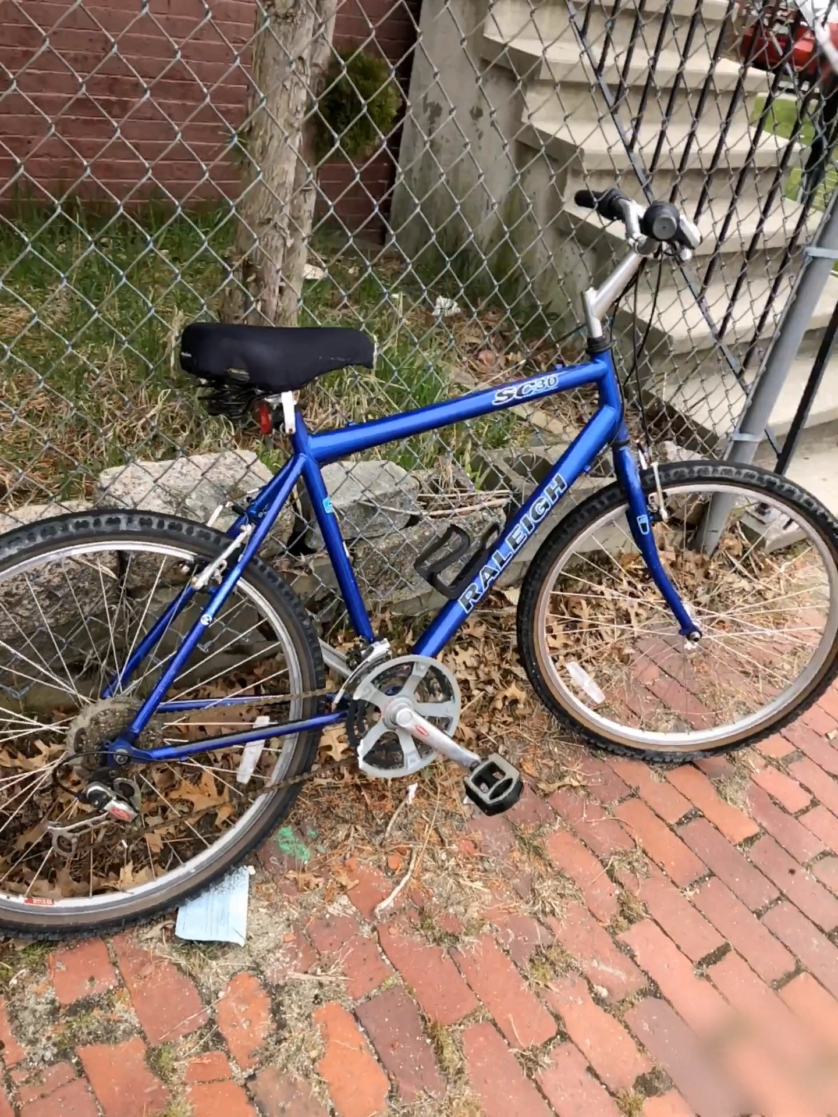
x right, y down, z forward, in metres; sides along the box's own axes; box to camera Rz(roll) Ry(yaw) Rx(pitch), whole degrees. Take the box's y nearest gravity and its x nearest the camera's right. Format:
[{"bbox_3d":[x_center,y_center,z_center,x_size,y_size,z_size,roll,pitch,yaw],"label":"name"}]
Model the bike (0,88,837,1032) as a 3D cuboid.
[{"bbox_3d":[-0.014,-0.090,1.462,1.666,1.023,0.683,-7,35,-21],"label":"bike"}]
